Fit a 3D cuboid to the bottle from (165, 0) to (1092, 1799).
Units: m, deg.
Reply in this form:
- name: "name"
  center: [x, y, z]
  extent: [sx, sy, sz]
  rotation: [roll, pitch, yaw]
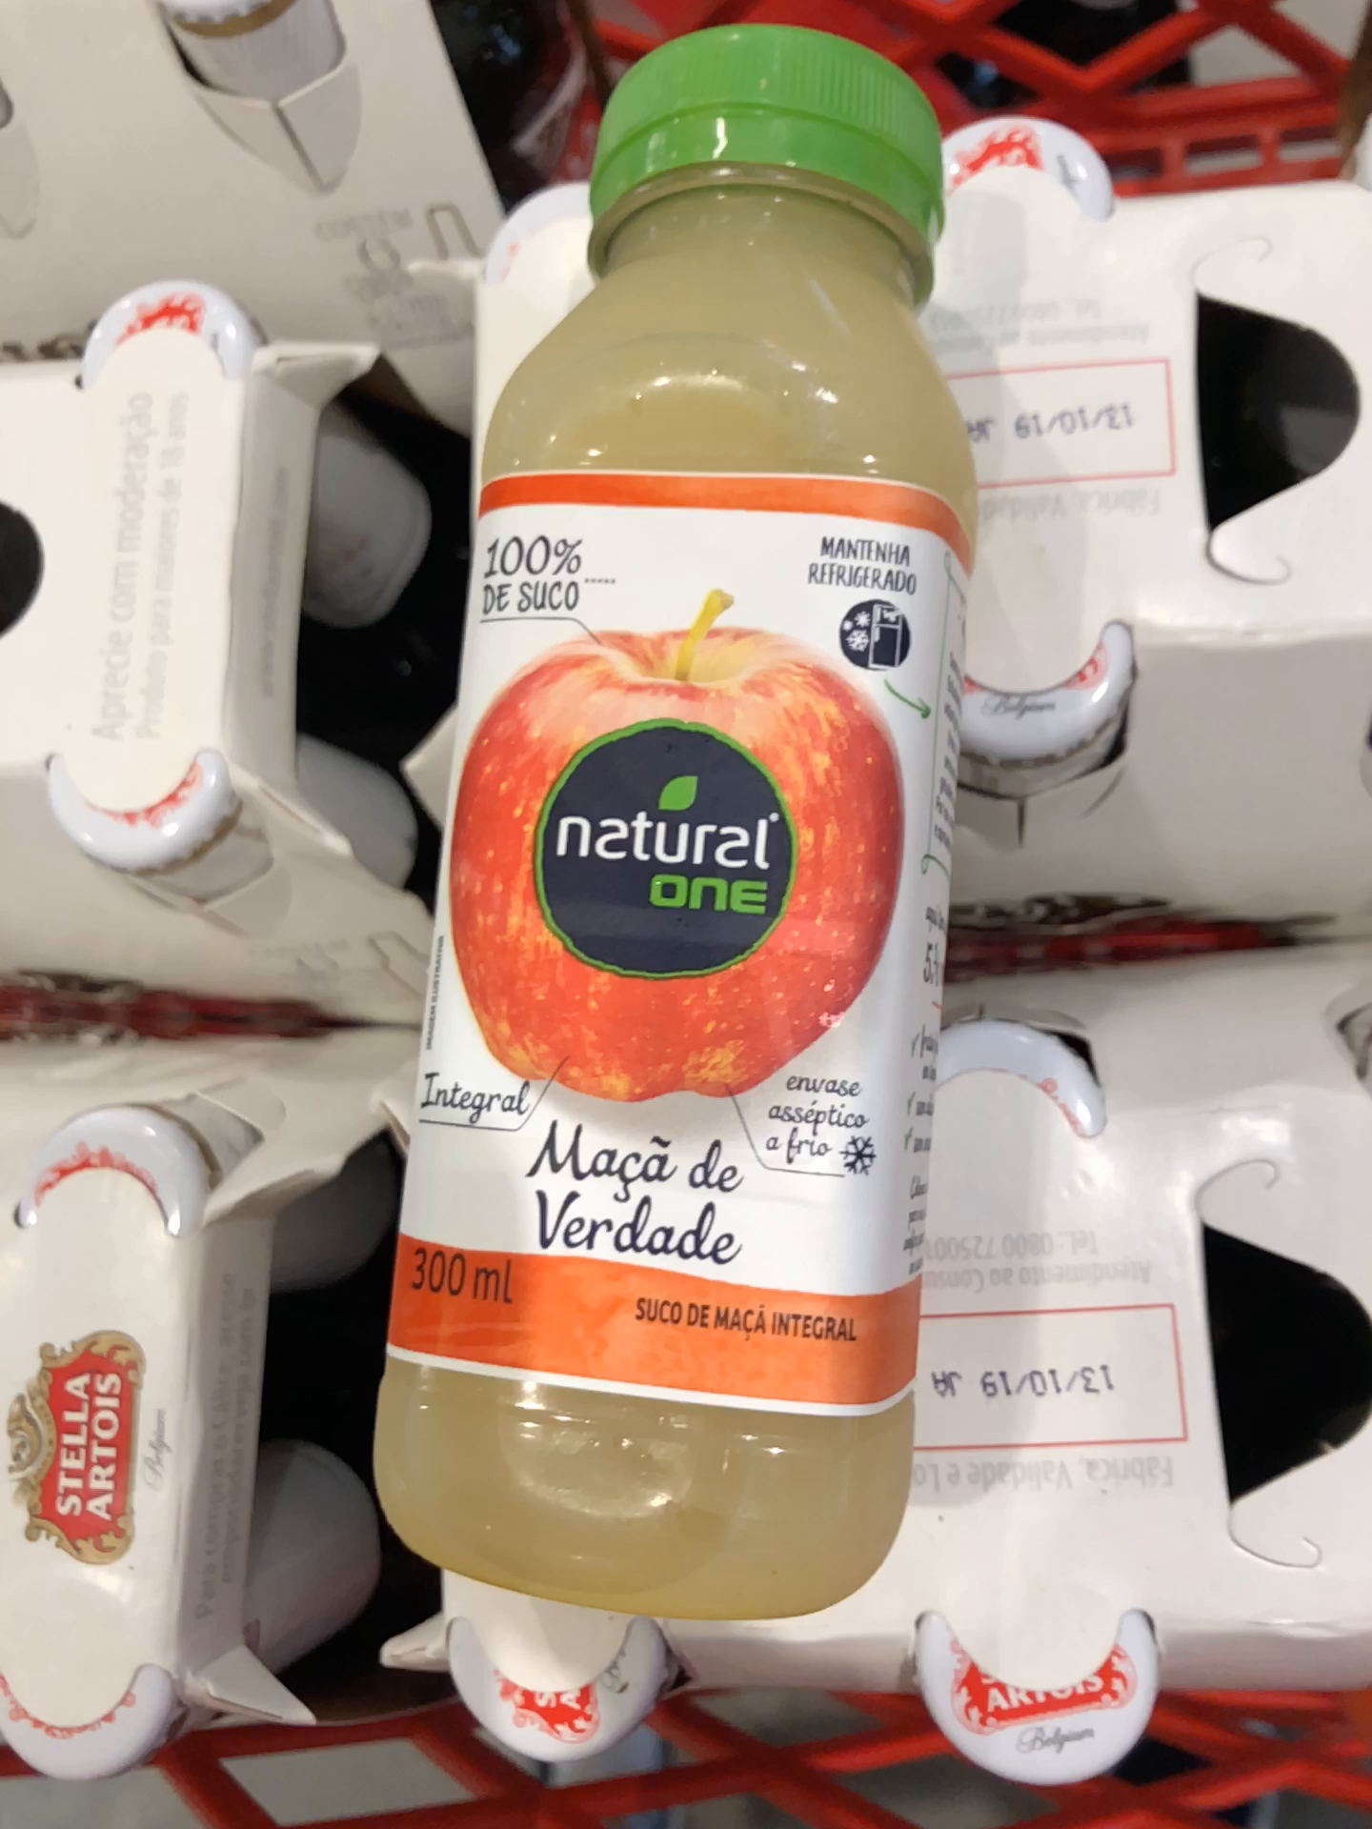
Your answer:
- name: "bottle"
  center: [0.004, -0.023, 0.160]
  extent: [0.060, 0.060, 0.180]
  rotation: [4, 81, 14]
